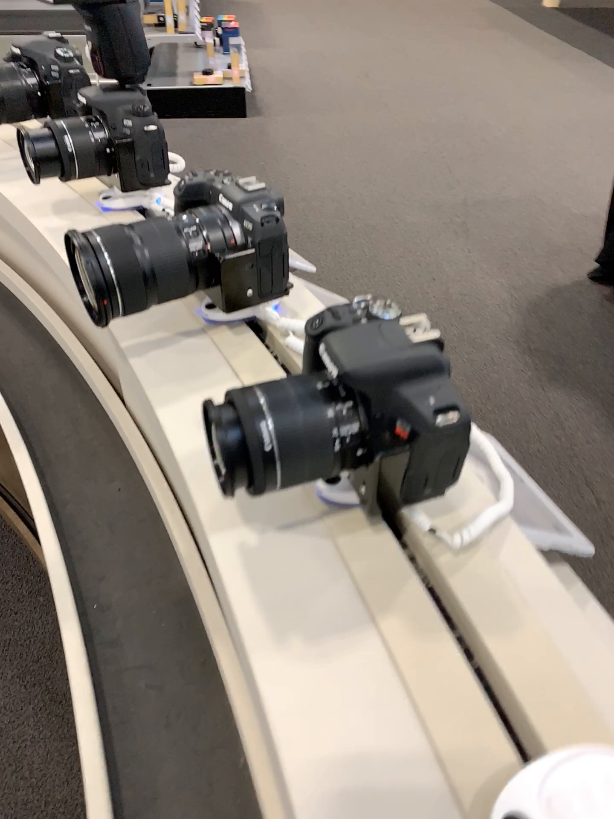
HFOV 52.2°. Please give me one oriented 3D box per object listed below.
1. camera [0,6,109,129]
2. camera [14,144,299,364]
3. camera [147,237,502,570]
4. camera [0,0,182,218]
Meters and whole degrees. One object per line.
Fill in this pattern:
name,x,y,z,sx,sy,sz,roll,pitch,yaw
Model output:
camera,-0.405,-0.480,0.871,0.191,0.099,0.140,-28,50,-29
camera,-0.130,-0.150,0.568,0.200,0.099,0.141,-23,48,-25
camera,0.002,-0.014,0.422,0.170,0.119,0.151,-15,45,-17
camera,-0.261,-0.365,0.698,0.170,0.219,0.151,-23,48,-25
